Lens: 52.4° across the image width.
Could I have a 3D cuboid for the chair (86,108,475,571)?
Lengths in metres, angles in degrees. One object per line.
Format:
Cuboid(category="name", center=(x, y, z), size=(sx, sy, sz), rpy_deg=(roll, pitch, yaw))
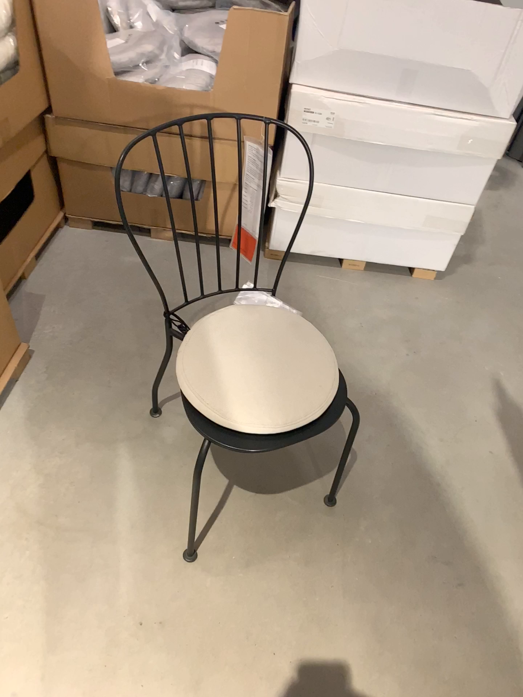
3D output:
Cuboid(category="chair", center=(-0.042, 0.004, 1.179), size=(0.480, 0.817, 0.521), rpy_deg=(-13, 50, -20))
